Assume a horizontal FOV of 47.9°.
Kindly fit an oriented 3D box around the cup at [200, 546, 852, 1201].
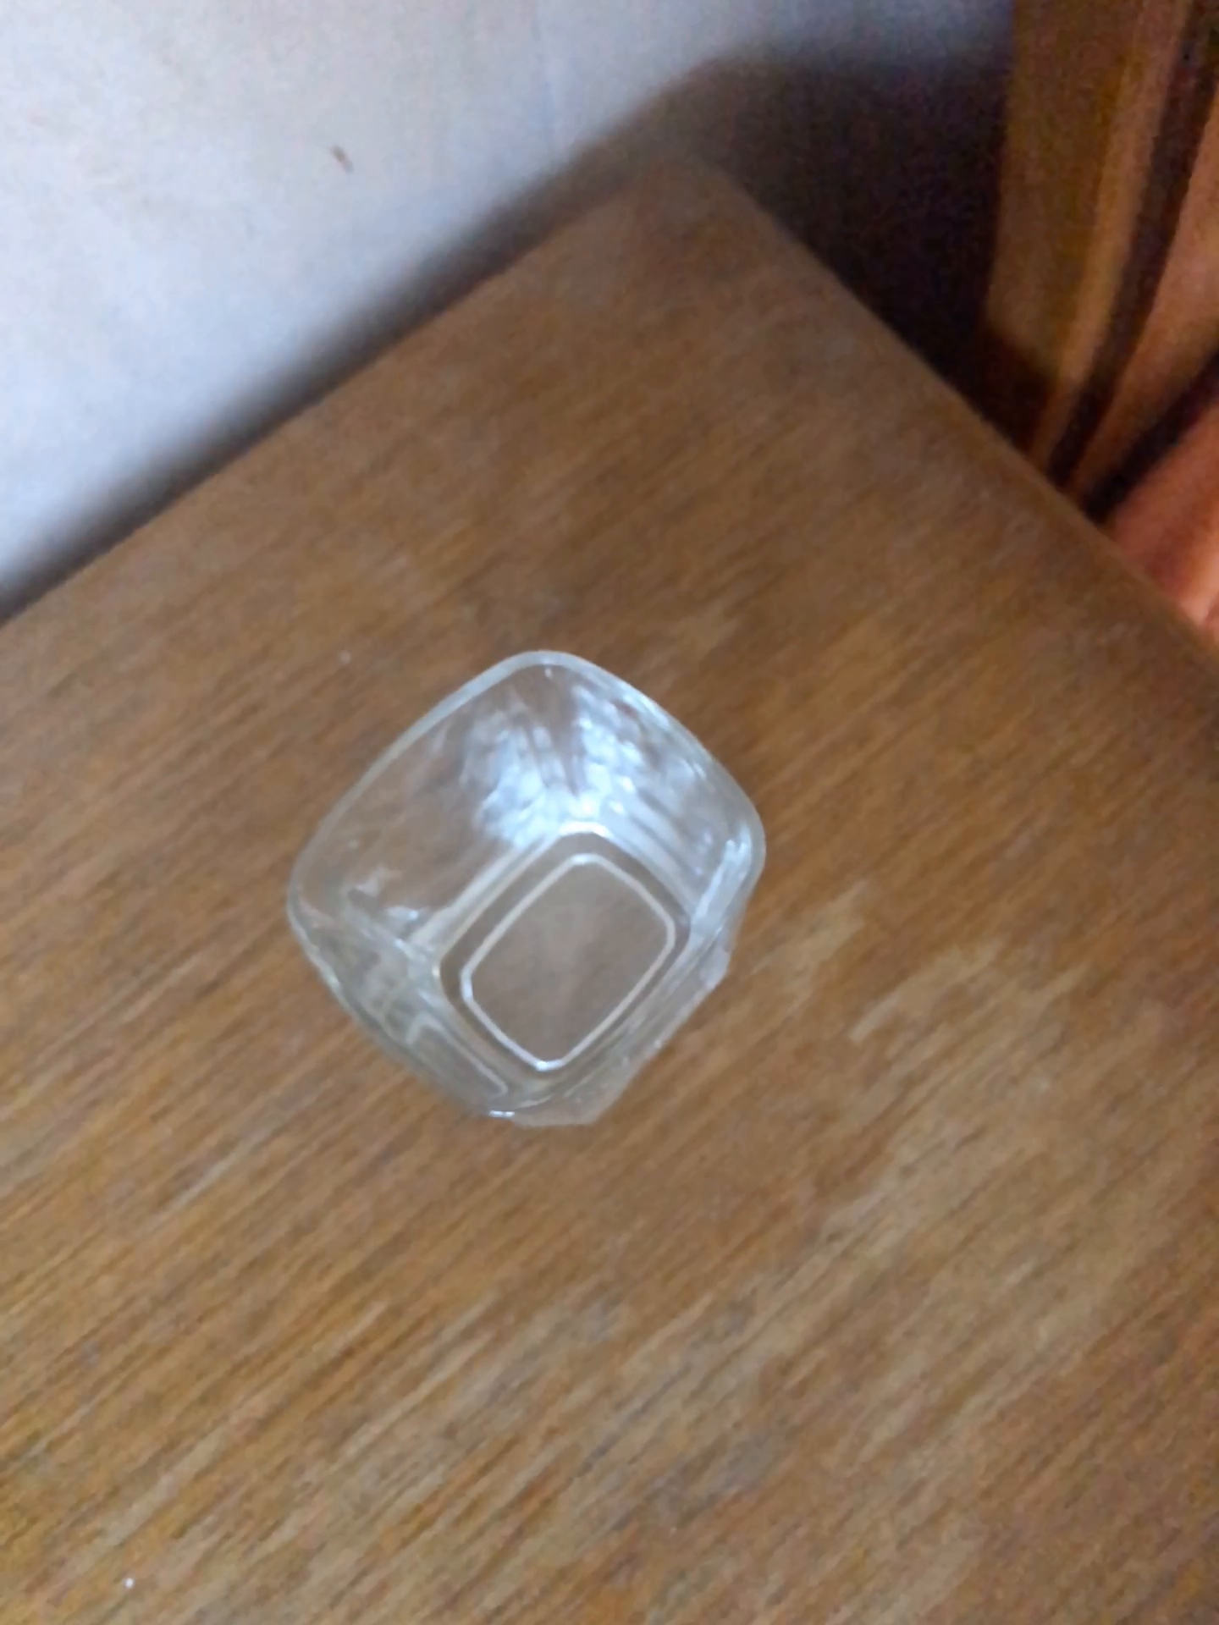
[{"bbox_3d":[-0.011,0.015,0.240,0.070,0.070,0.070,-1,71,3],"label":"cup"}]
